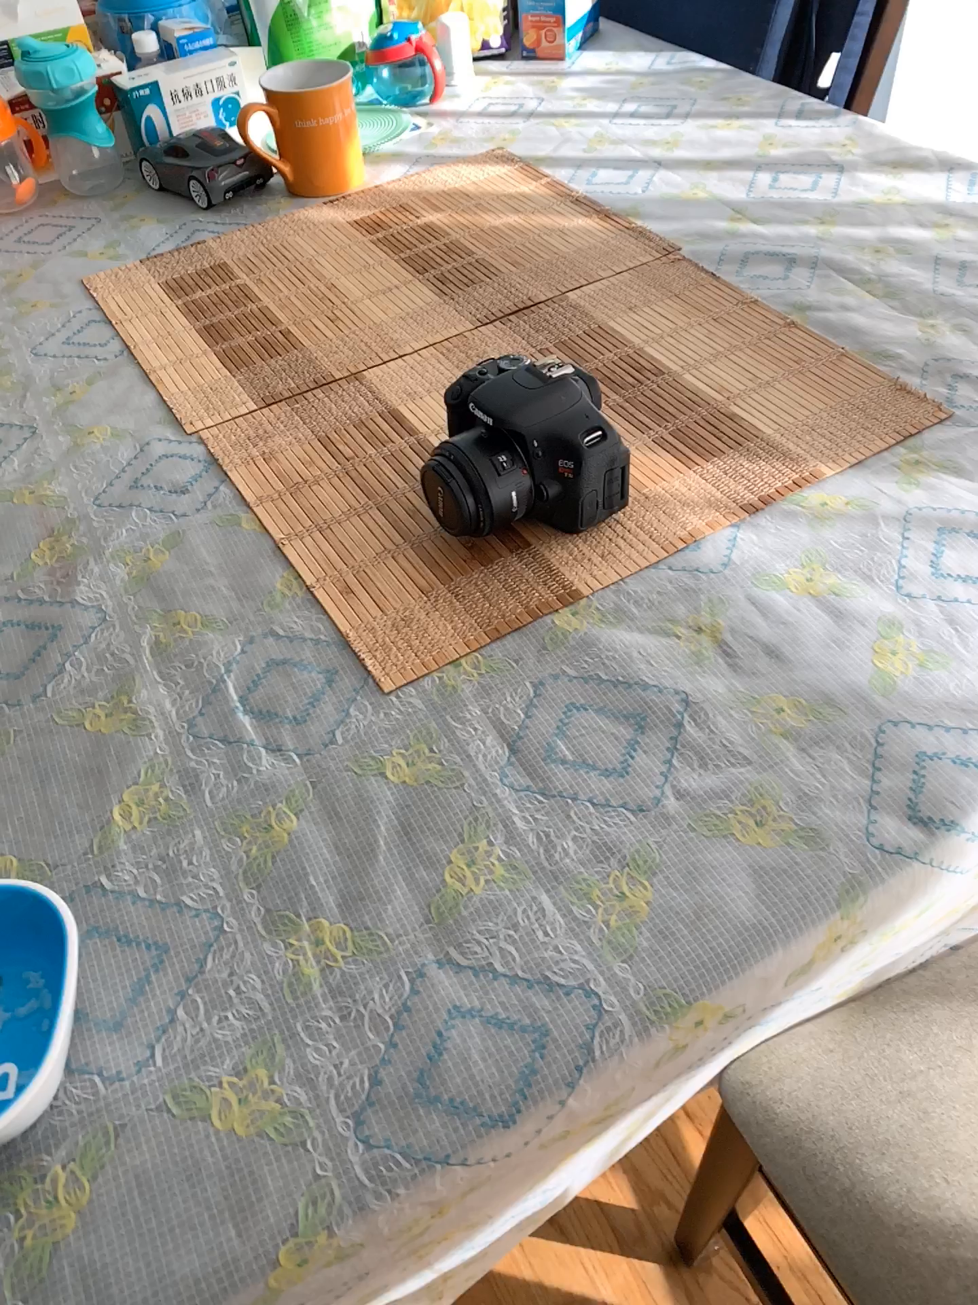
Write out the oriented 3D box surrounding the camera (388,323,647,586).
[{"bbox_3d":[0.020,-0.131,0.651,0.125,0.092,0.100,-29,51,-20],"label":"camera"}]
